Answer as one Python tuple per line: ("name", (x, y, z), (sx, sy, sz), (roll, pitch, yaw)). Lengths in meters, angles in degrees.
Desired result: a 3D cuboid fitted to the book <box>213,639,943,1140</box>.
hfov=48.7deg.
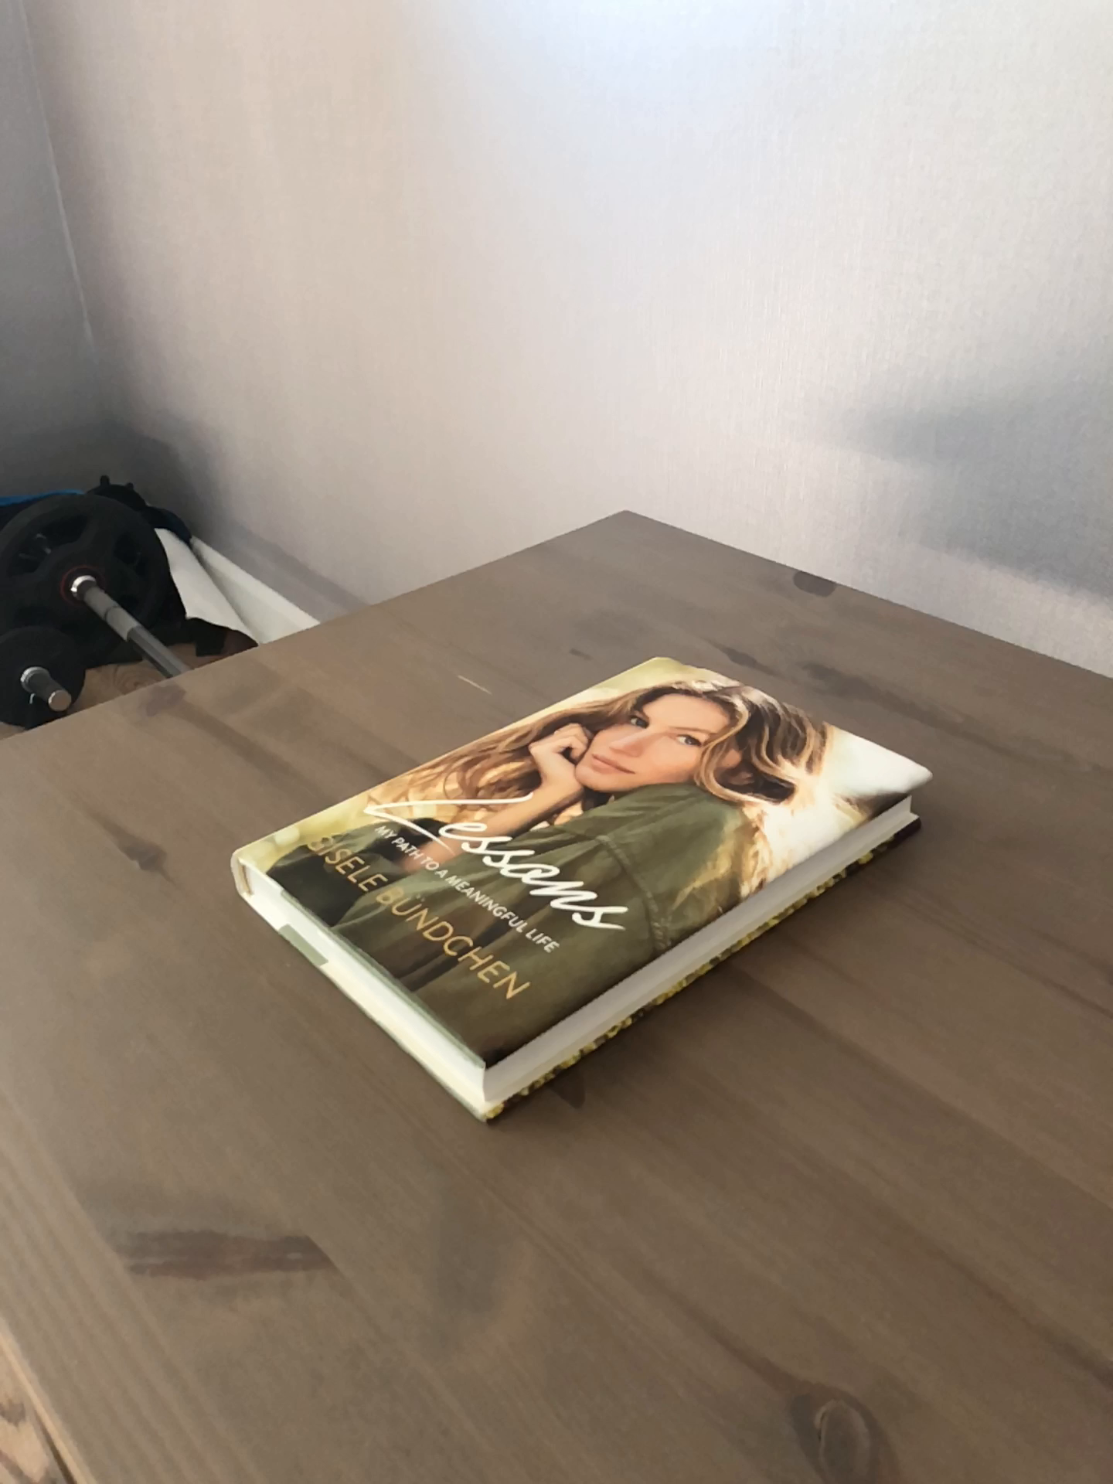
("book", (0.012, 0.034, 0.472), (0.228, 0.030, 0.160), (-25, 38, -34))
